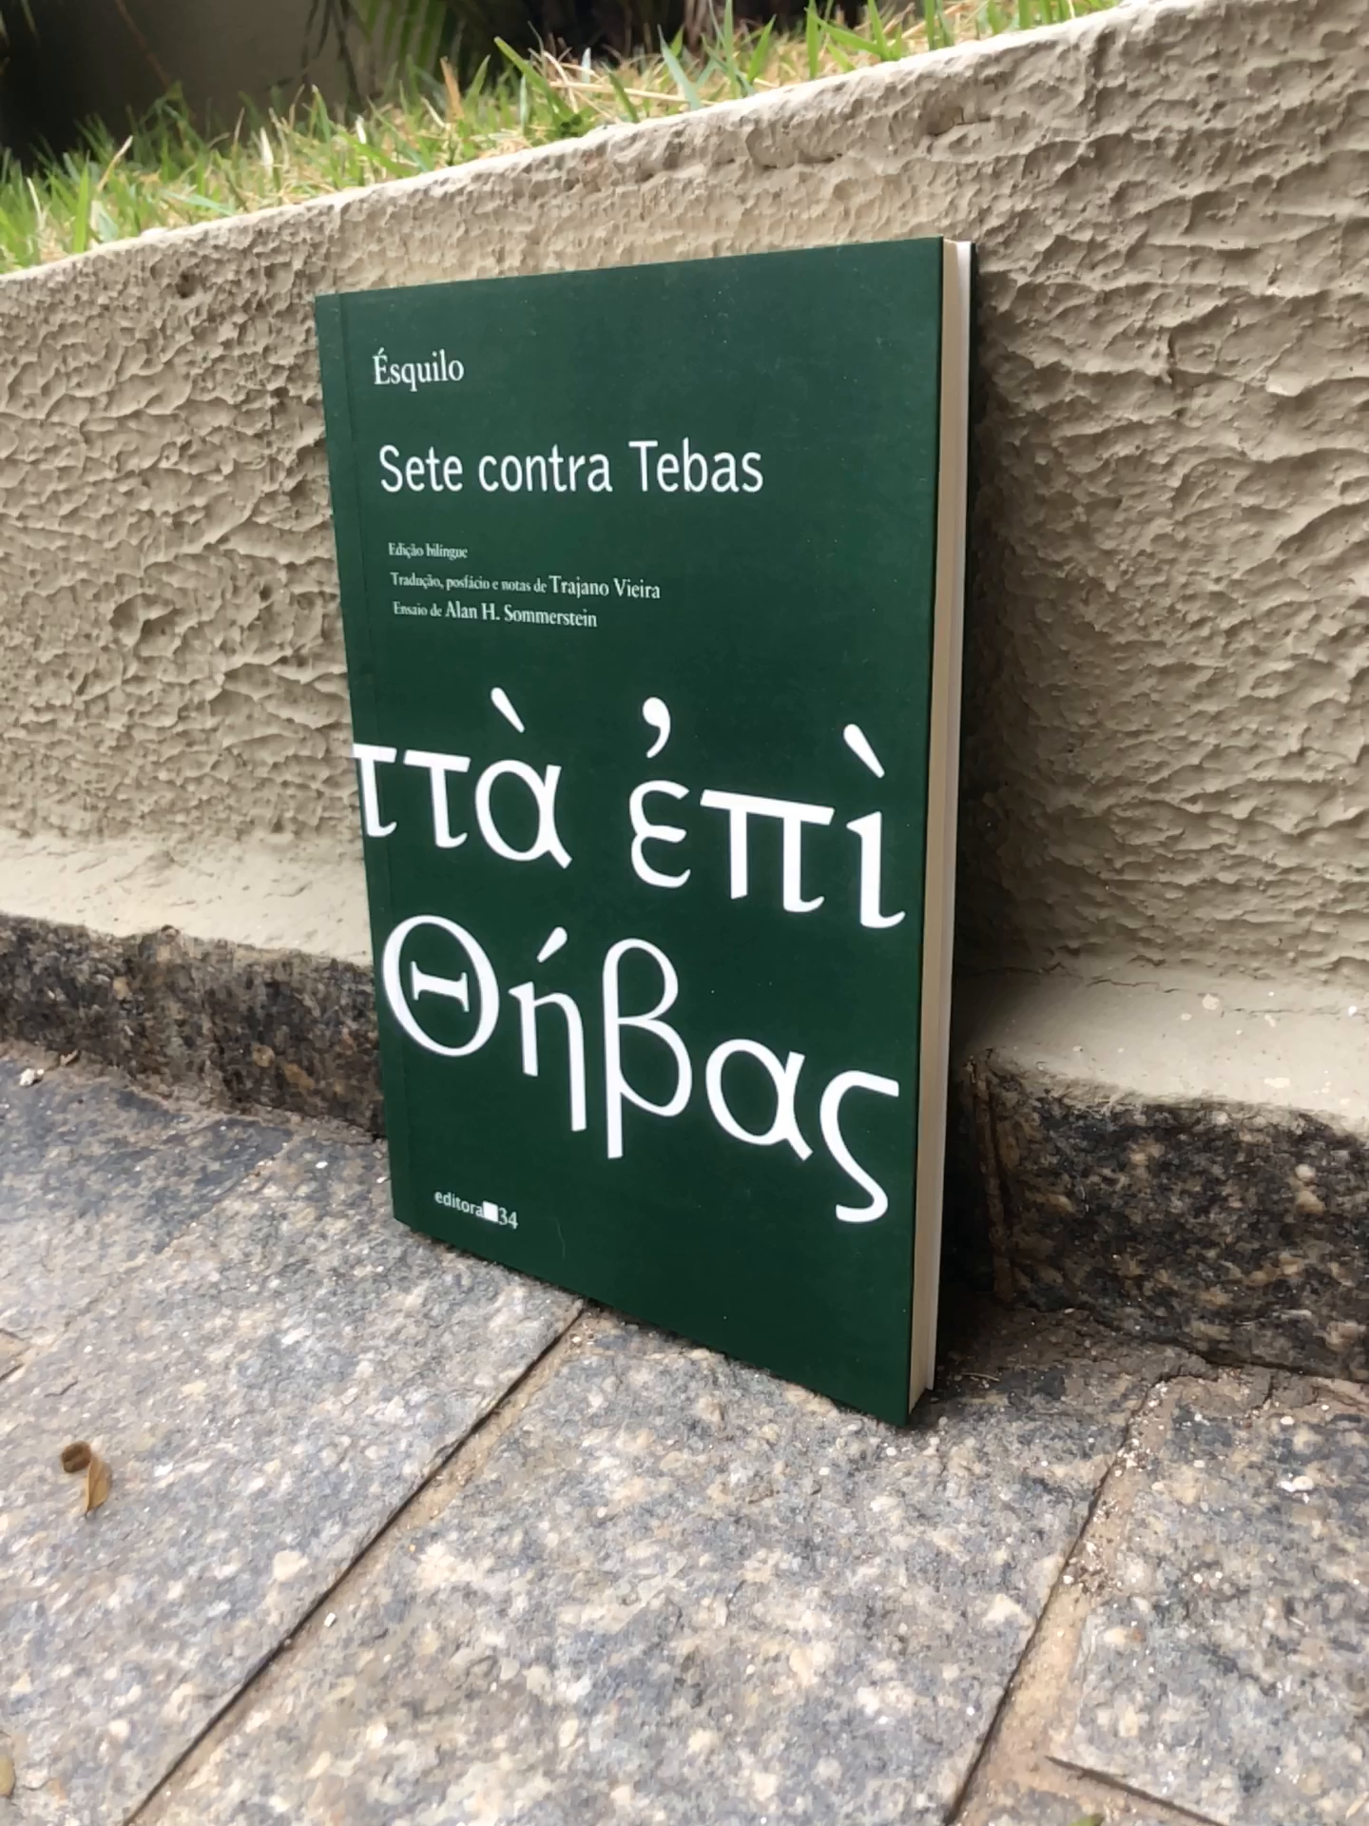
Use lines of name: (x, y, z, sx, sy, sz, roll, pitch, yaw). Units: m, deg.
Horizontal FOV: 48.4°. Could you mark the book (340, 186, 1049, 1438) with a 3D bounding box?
book: (-0.004, -0.018, 0.285, 0.140, 0.196, 0.020, 10, 17, 38)
